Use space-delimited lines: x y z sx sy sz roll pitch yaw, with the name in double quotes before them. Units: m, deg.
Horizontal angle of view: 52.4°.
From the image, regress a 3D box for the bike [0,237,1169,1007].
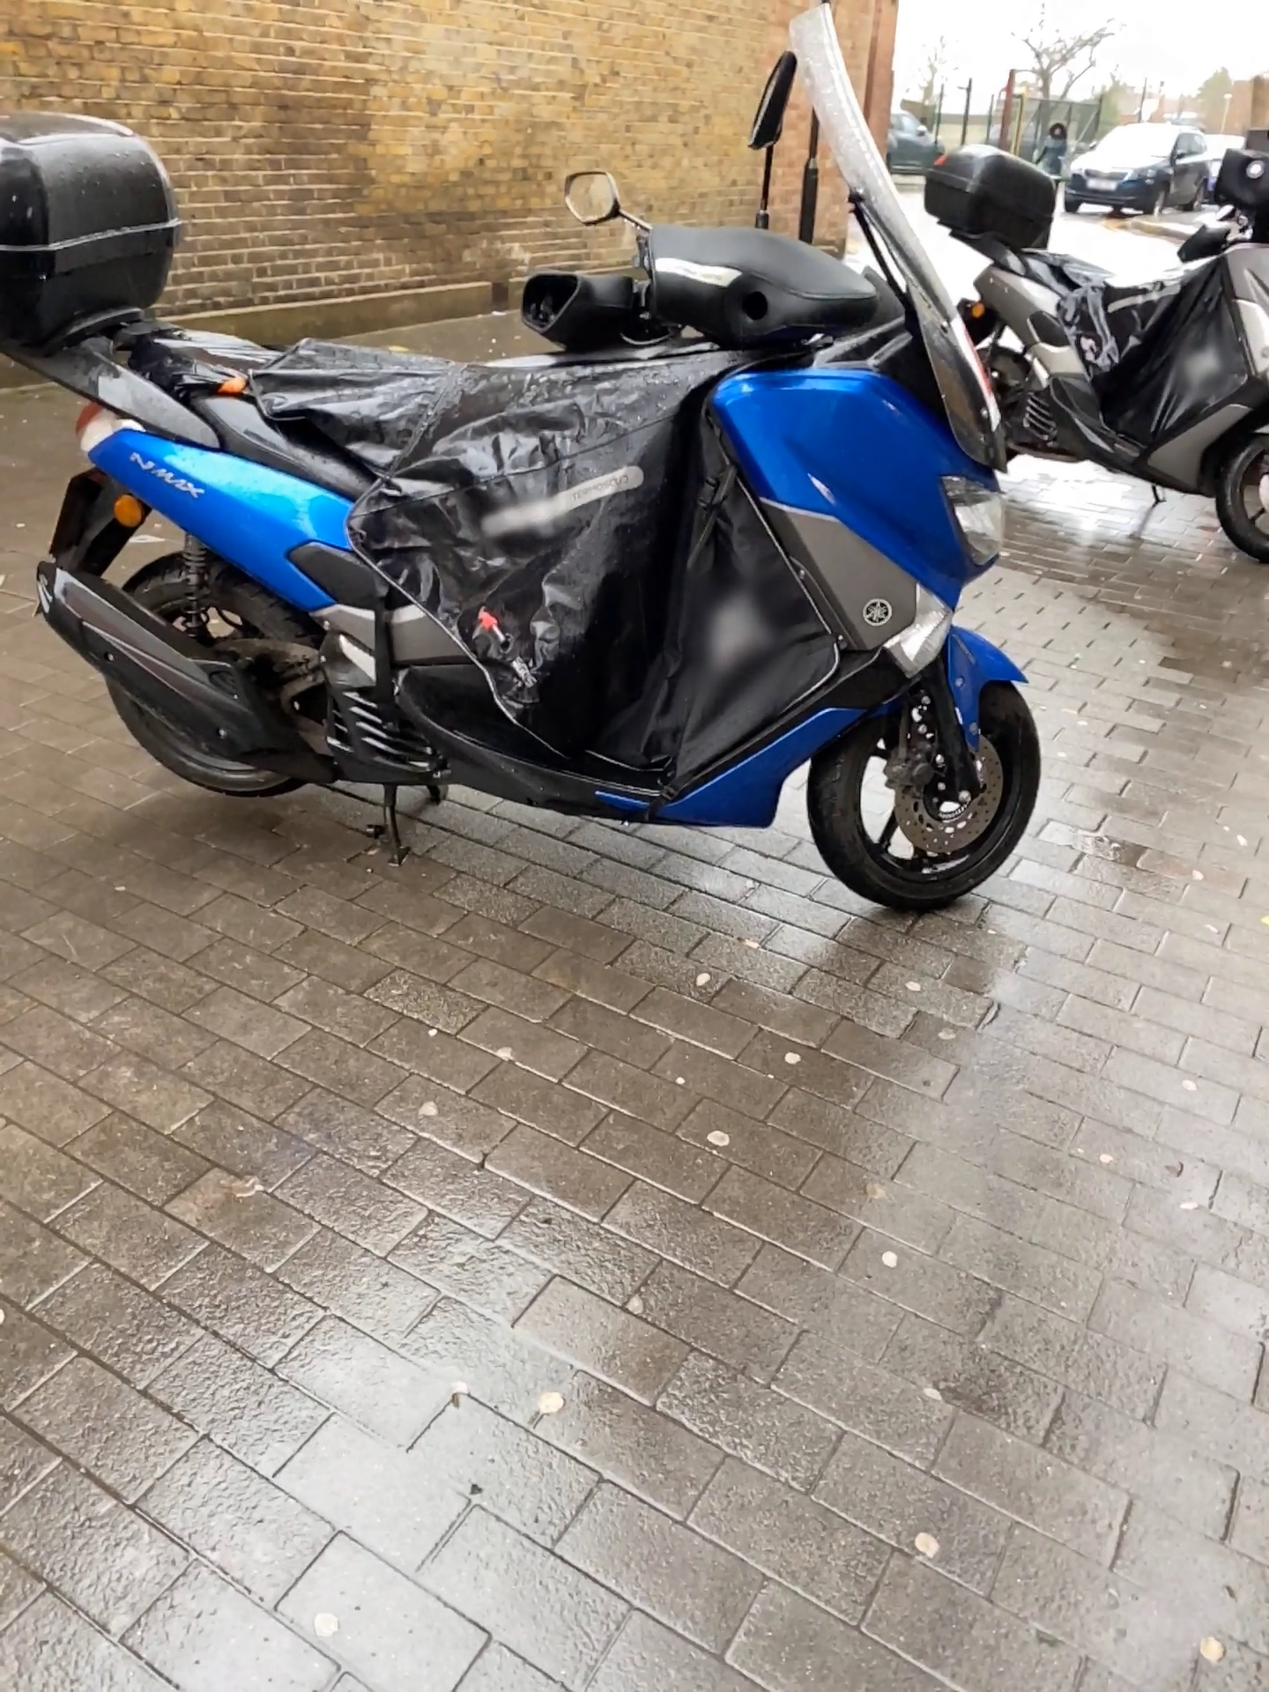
"bike" -0.141 -0.424 2.202 1.730 0.998 0.681 5 29 6
